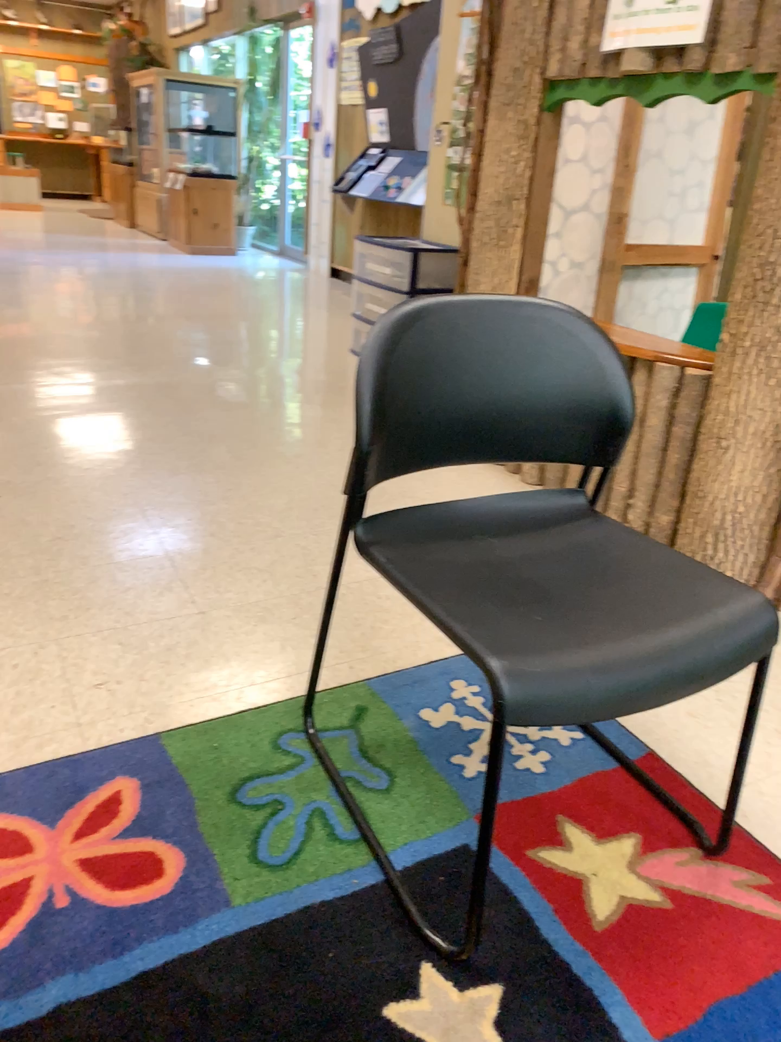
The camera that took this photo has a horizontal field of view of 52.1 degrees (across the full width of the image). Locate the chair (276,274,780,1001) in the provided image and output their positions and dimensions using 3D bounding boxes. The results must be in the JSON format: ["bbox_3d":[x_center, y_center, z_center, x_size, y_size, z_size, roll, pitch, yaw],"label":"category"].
[{"bbox_3d":[0.206,0.085,1.171,0.570,0.786,0.532,-8,26,-28],"label":"chair"}]
